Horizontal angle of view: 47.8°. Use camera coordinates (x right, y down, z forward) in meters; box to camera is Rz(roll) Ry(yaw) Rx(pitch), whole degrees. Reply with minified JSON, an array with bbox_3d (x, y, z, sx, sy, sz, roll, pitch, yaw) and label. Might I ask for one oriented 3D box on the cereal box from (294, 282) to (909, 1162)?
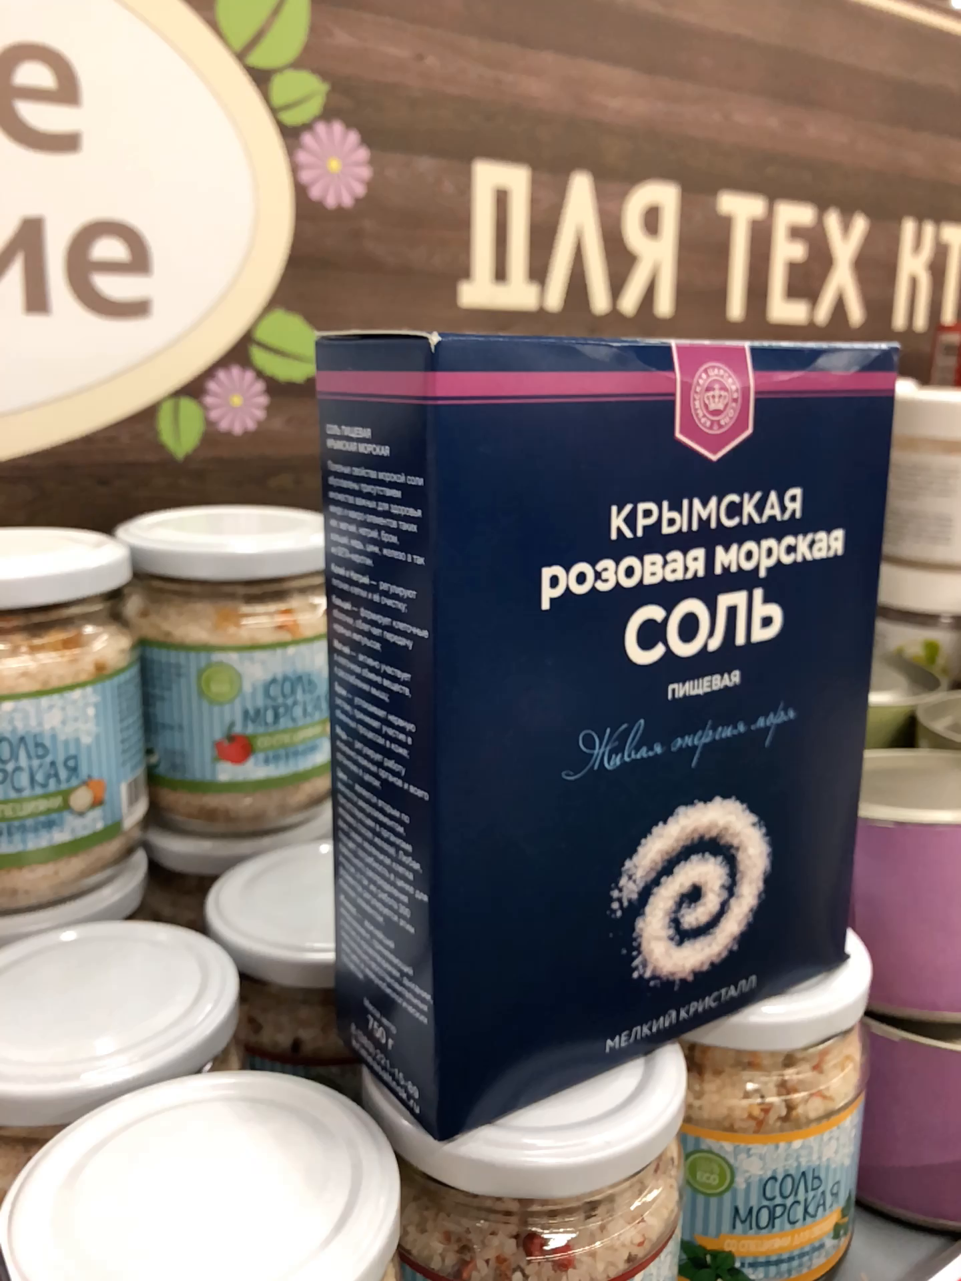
[{"bbox_3d":[0.027,0.008,0.225,0.120,0.149,0.040,-8,16,-33],"label":"cereal box"}]
